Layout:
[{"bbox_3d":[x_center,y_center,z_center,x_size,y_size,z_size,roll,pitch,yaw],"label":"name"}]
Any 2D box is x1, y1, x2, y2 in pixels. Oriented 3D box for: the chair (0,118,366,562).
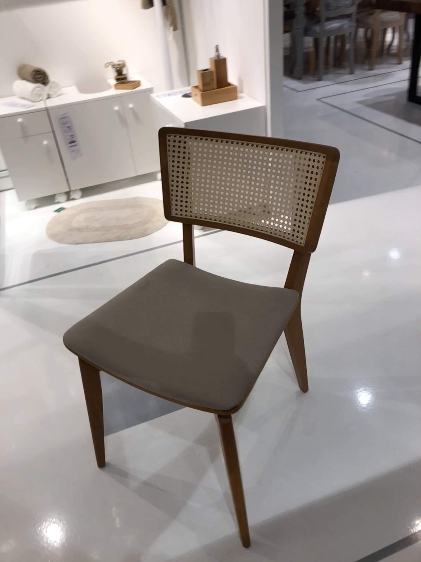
[{"bbox_3d":[-0.005,0.103,1.170,0.541,0.794,0.603,15,41,28],"label":"chair"}]
